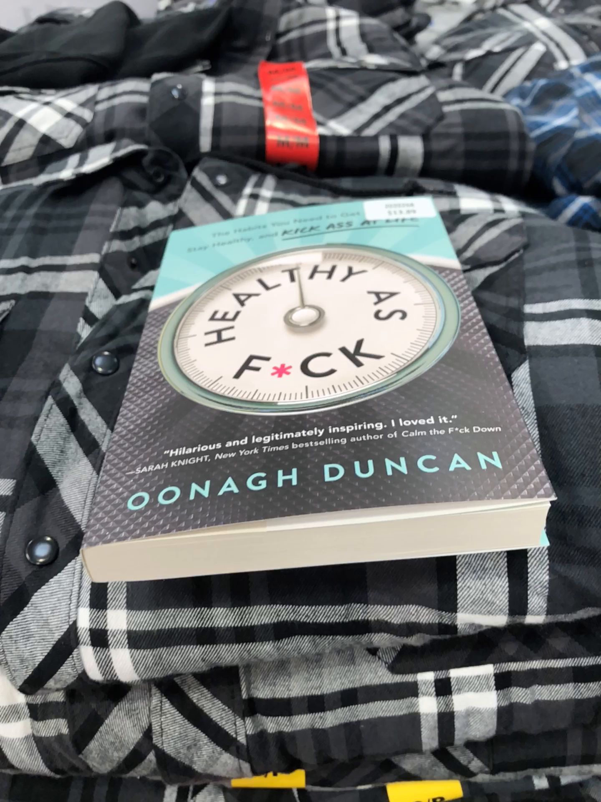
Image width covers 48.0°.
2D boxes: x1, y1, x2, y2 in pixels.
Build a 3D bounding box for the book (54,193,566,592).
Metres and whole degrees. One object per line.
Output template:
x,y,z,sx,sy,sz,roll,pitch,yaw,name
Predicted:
0.000,-0.028,0.307,0.156,0.028,0.238,-5,39,2,book
